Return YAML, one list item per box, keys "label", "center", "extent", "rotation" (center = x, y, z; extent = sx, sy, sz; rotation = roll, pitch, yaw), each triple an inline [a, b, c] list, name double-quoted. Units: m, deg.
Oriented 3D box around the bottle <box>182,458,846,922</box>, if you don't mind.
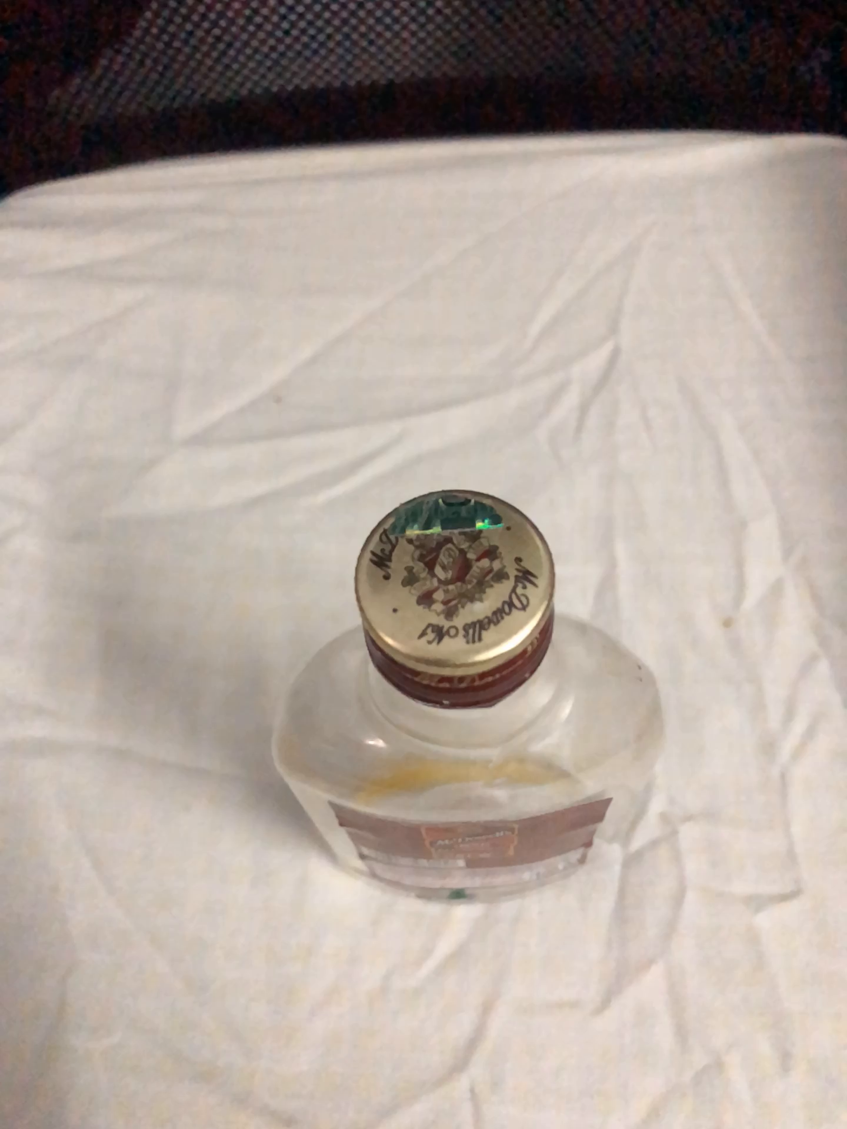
- label: "bottle"
  center: [0.014, 0.037, 0.180]
  extent: [0.080, 0.140, 0.040]
  rotation: [-3, 64, 0]
